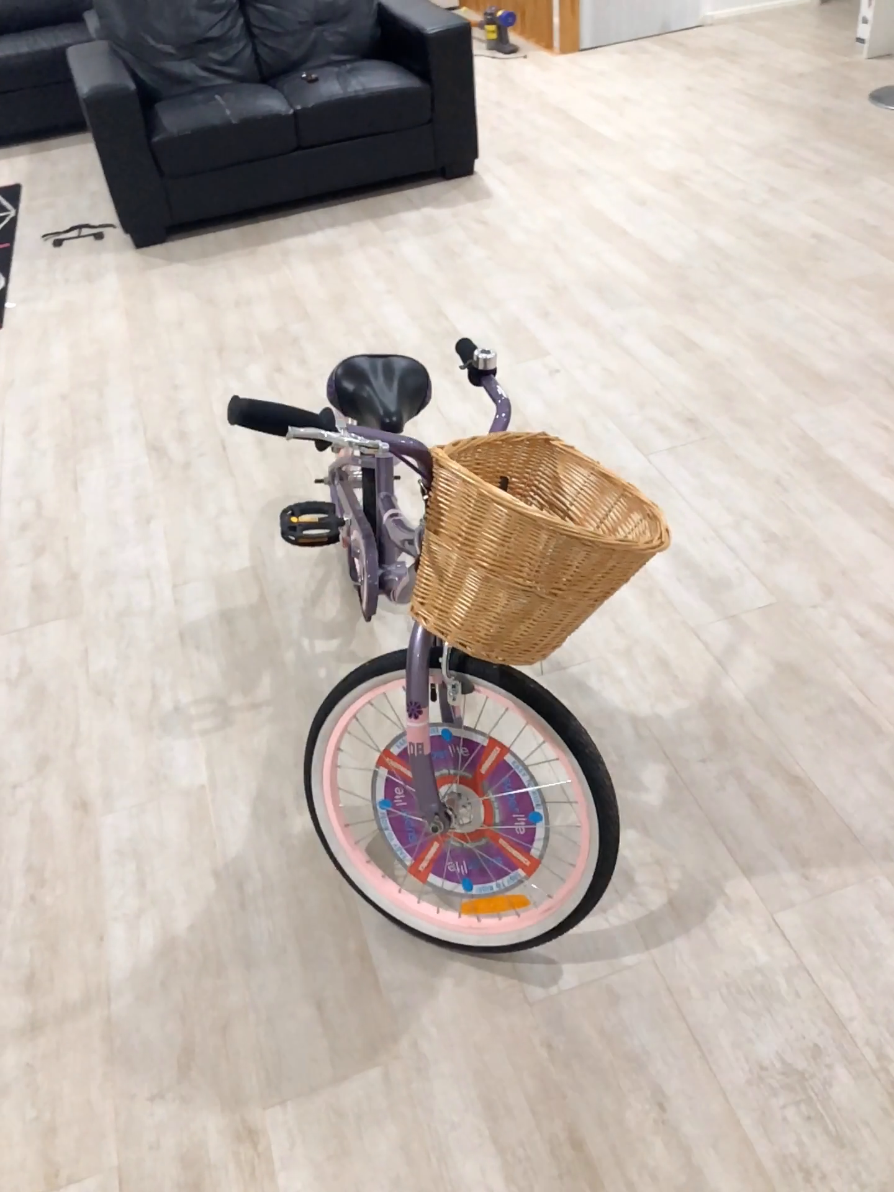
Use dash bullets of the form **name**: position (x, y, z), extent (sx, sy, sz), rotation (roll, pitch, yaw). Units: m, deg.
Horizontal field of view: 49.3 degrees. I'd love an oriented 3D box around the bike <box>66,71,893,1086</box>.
- **bike**: position (-0.037, -0.122, 1.626), extent (0.747, 0.877, 1.222), rotation (-18, 46, -12)
